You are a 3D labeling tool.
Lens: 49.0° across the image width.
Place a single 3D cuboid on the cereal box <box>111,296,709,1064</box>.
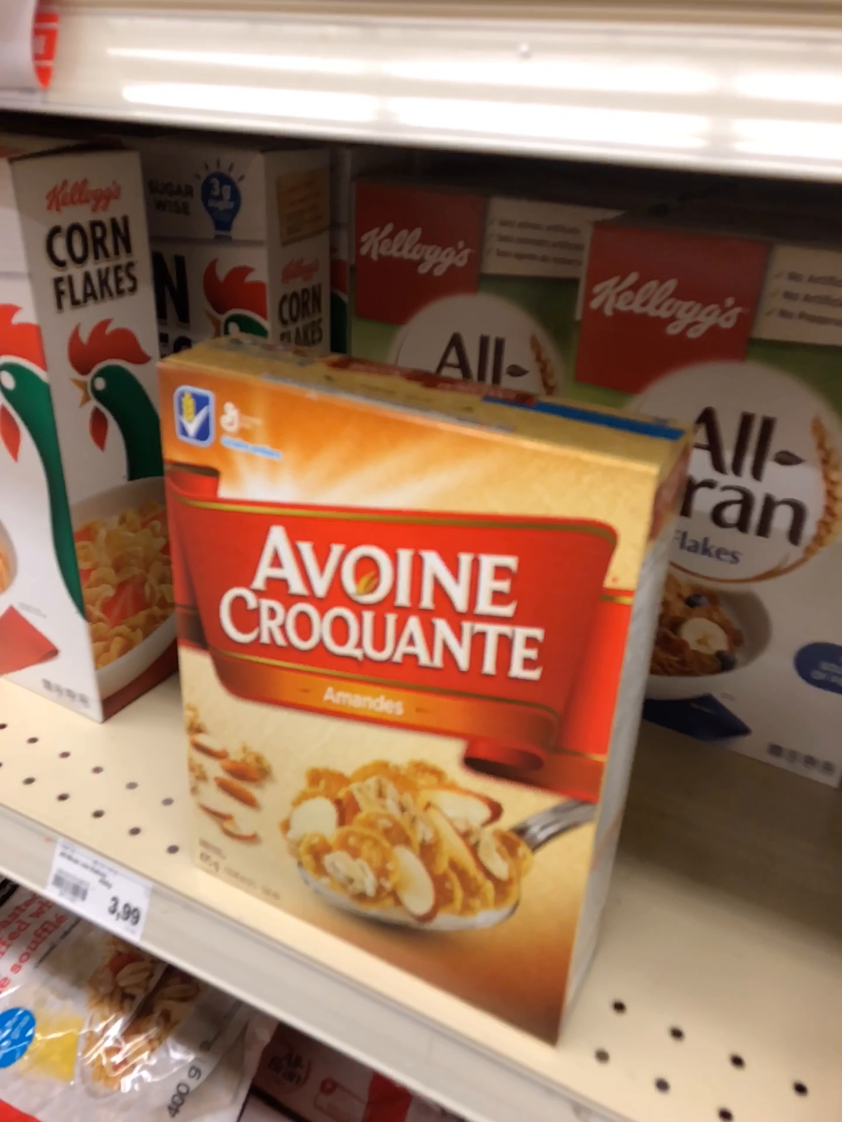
[{"bbox_3d":[-0.015,0.048,0.378,0.200,0.268,0.060,17,31,24],"label":"cereal box"}]
